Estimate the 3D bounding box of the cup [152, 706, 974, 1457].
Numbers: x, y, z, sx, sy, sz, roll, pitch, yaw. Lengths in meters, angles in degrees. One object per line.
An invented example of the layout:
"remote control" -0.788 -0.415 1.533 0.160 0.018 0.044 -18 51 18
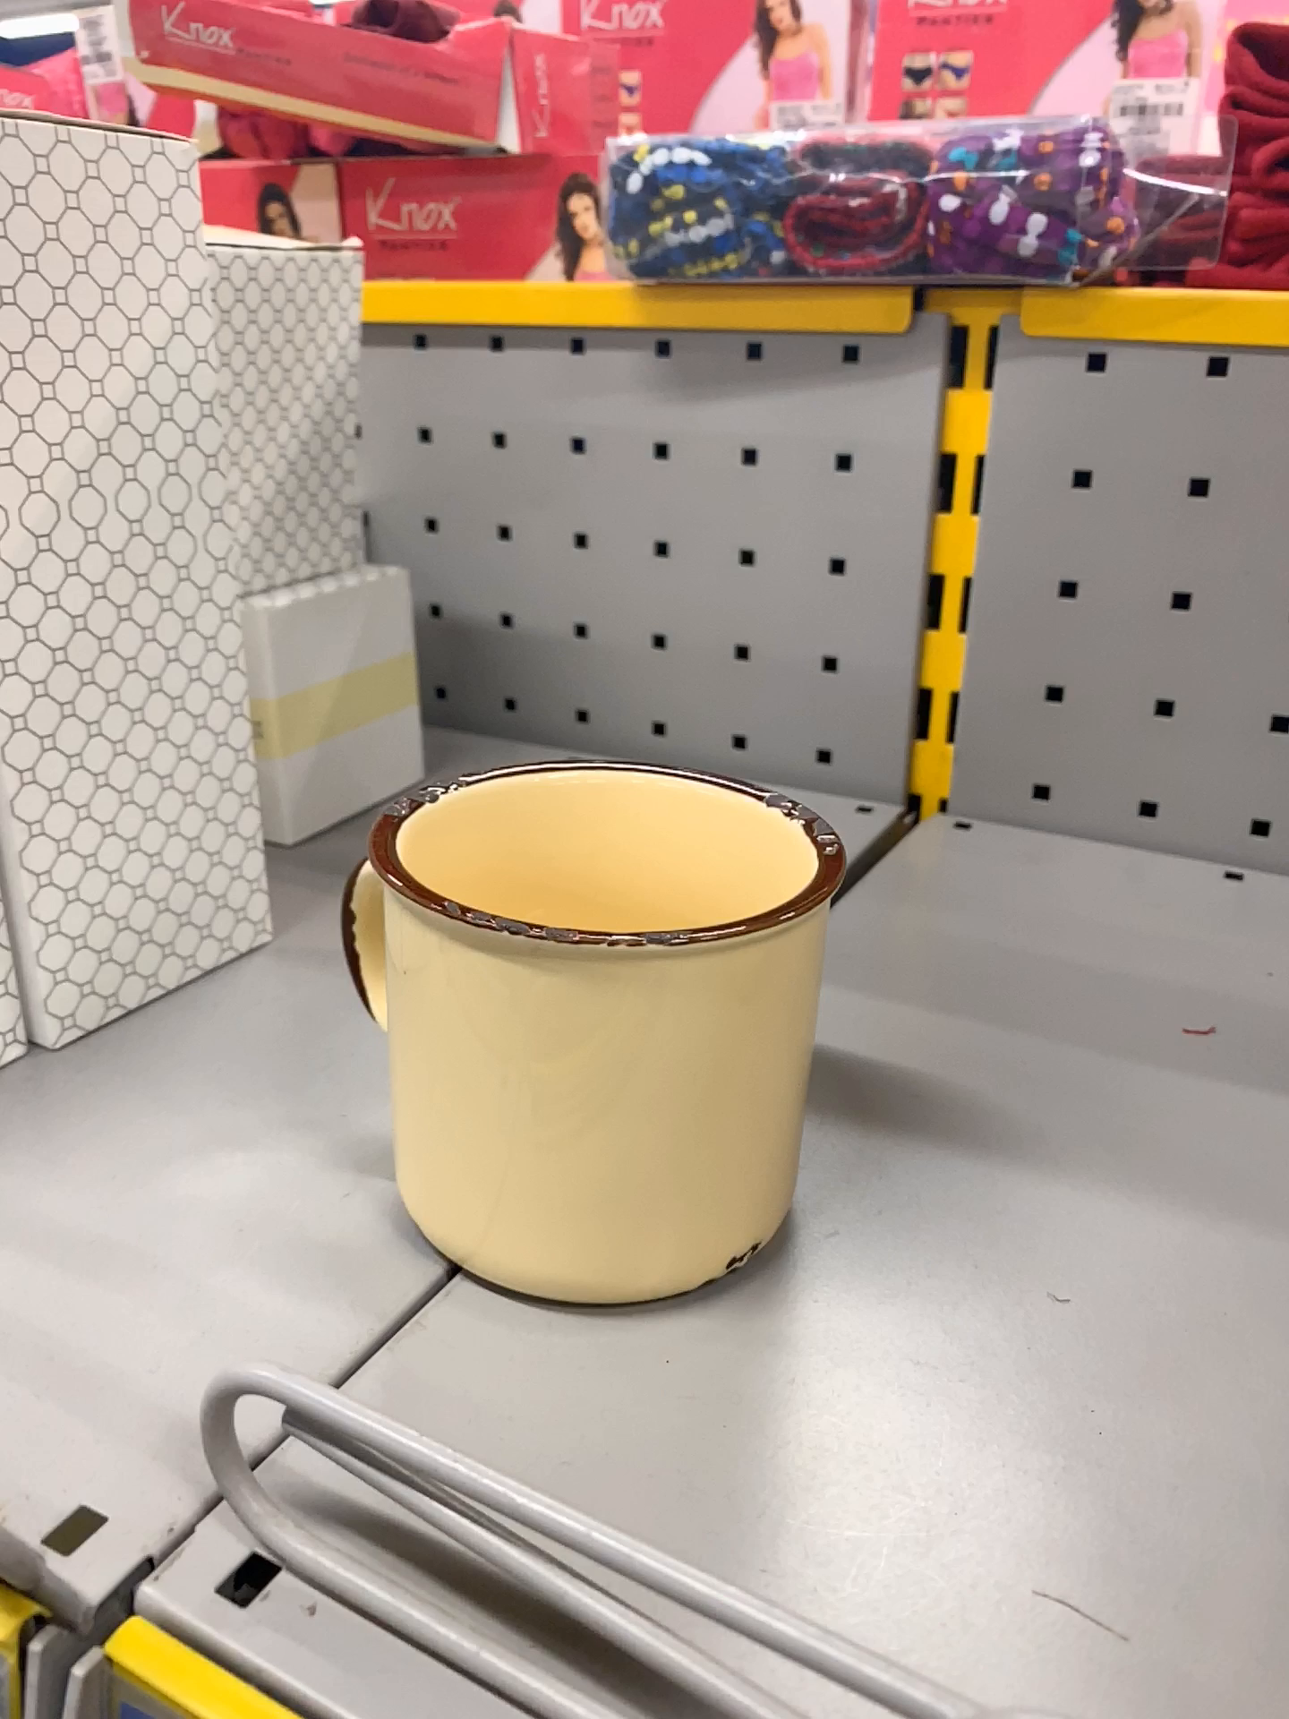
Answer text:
"cup" -0.014 0.029 0.260 0.120 0.080 0.090 15 26 31
